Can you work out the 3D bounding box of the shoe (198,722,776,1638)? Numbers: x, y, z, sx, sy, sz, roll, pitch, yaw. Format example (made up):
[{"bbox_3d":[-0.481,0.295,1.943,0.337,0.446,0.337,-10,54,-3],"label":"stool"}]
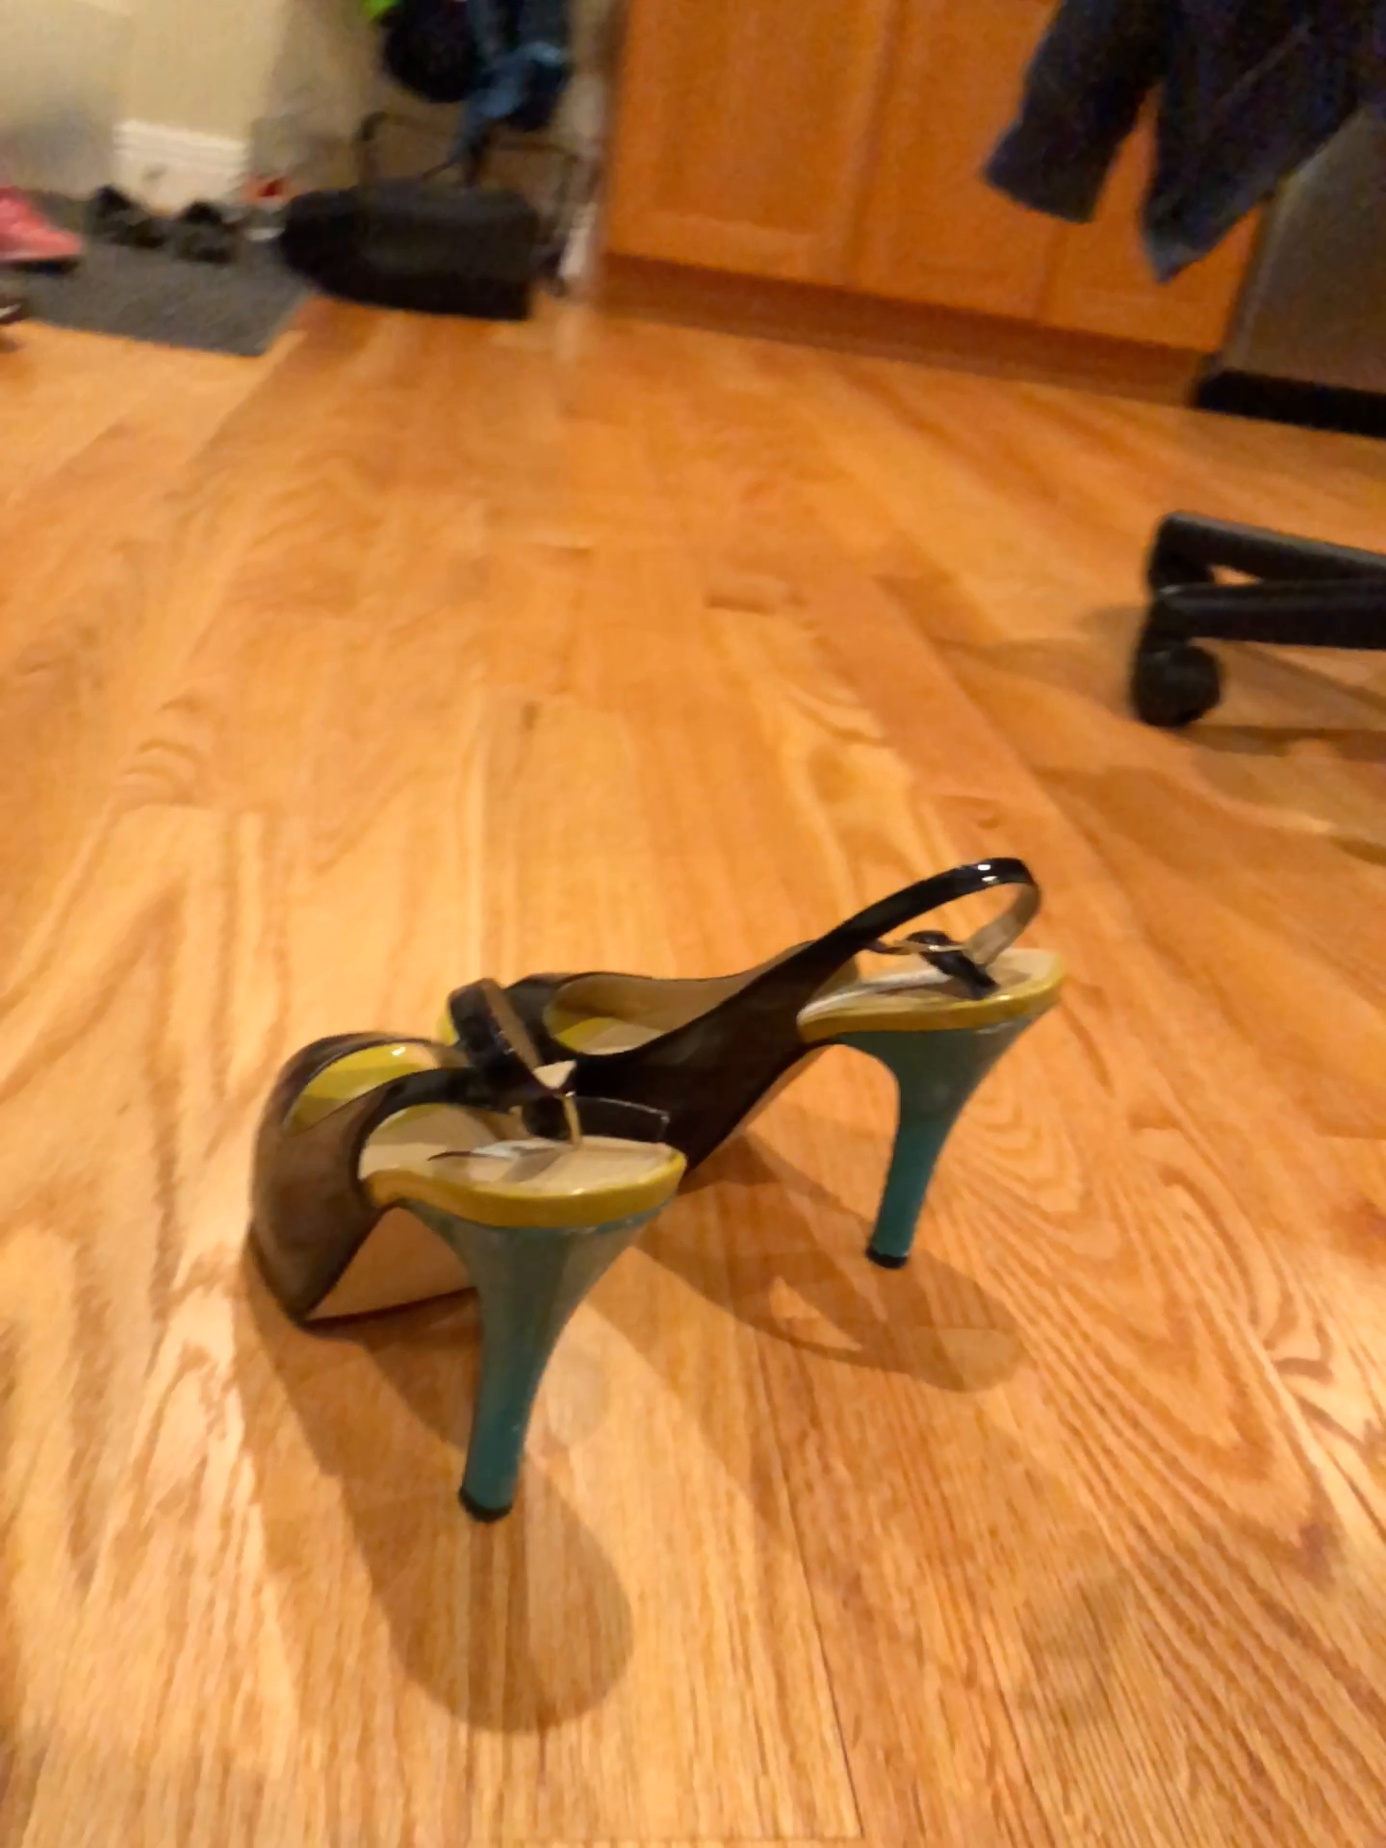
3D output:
[{"bbox_3d":[-0.070,0.044,0.390,0.085,0.121,0.205,-2,29,-23],"label":"shoe"}]

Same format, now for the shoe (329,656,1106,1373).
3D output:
[{"bbox_3d":[0.000,0.017,0.467,0.201,0.131,0.085,22,28,22],"label":"shoe"}]
